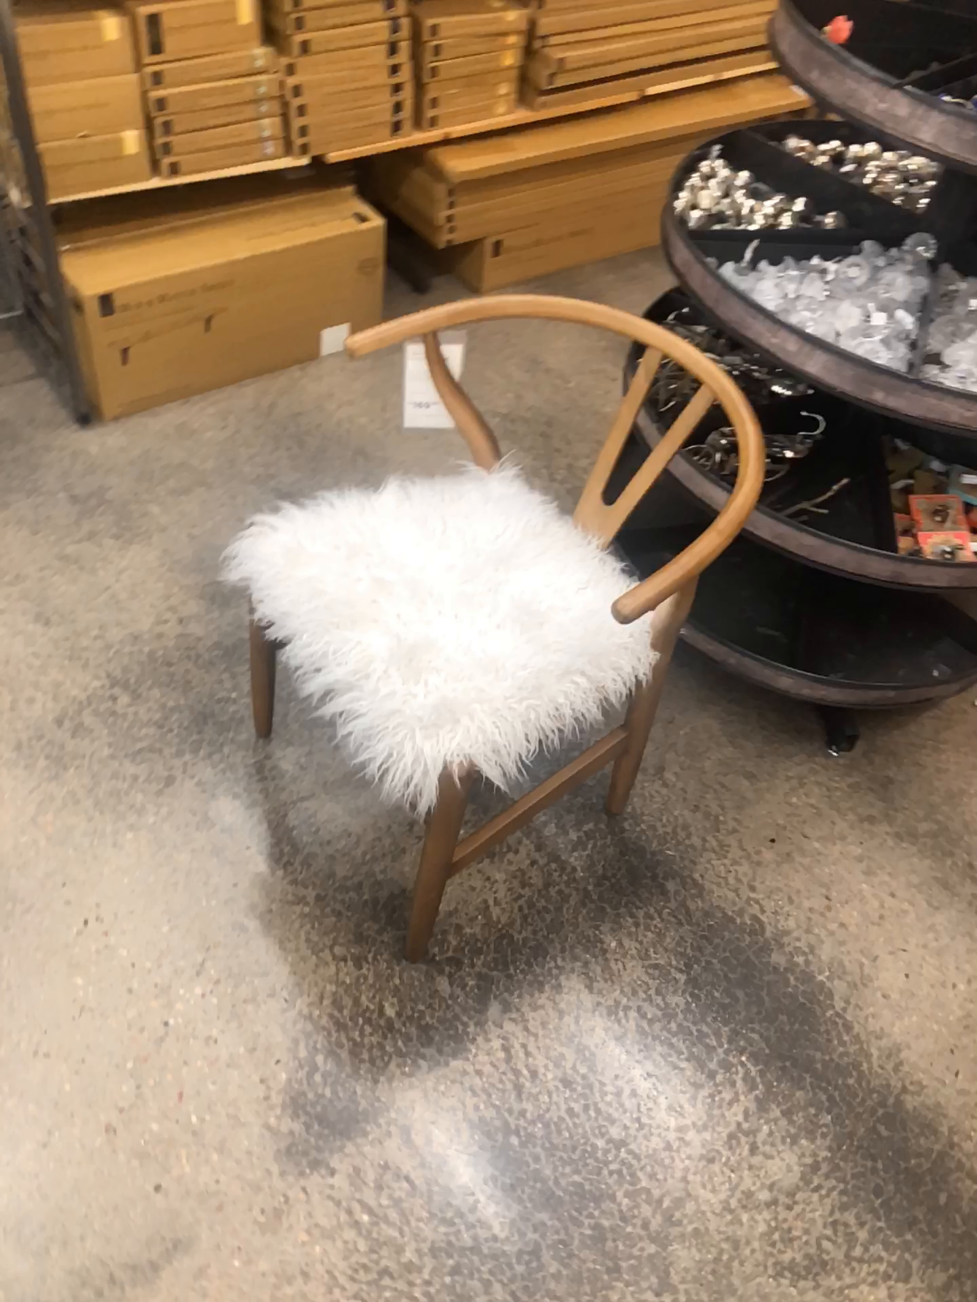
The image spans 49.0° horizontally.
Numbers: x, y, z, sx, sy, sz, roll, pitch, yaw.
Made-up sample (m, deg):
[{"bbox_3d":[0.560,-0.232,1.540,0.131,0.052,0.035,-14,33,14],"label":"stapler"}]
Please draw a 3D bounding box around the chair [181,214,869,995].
[{"bbox_3d":[-0.013,-0.058,1.424,0.529,0.732,0.559,-21,55,-25],"label":"chair"}]
